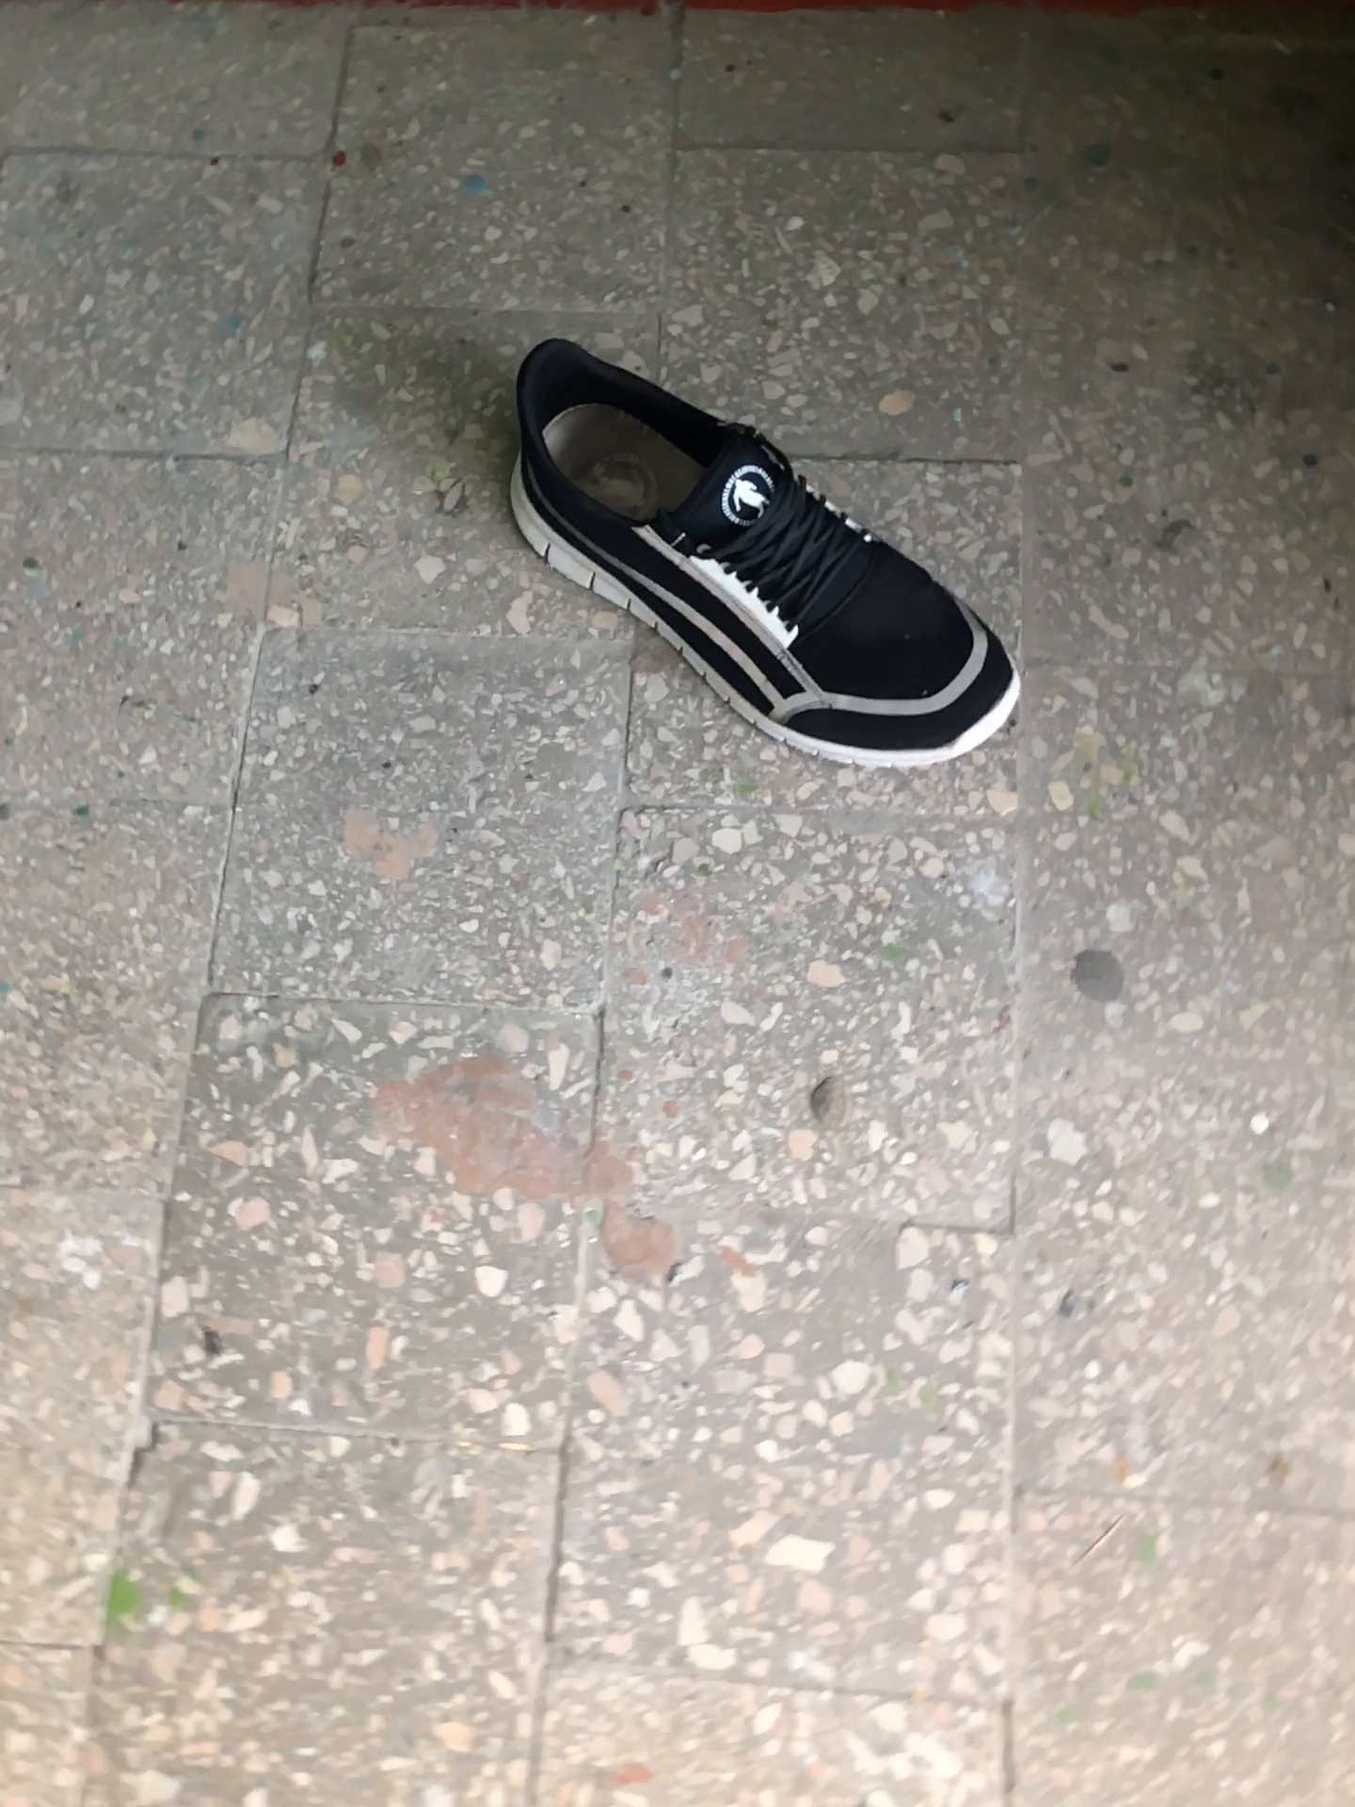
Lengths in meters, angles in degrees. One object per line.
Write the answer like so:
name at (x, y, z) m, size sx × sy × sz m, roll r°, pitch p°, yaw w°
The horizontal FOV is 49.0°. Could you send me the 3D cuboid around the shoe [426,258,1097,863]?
shoe at (0.034, -0.155, 0.688) m, size 0.280 × 0.120 × 0.100 m, roll 36°, pitch 80°, yaw 12°
